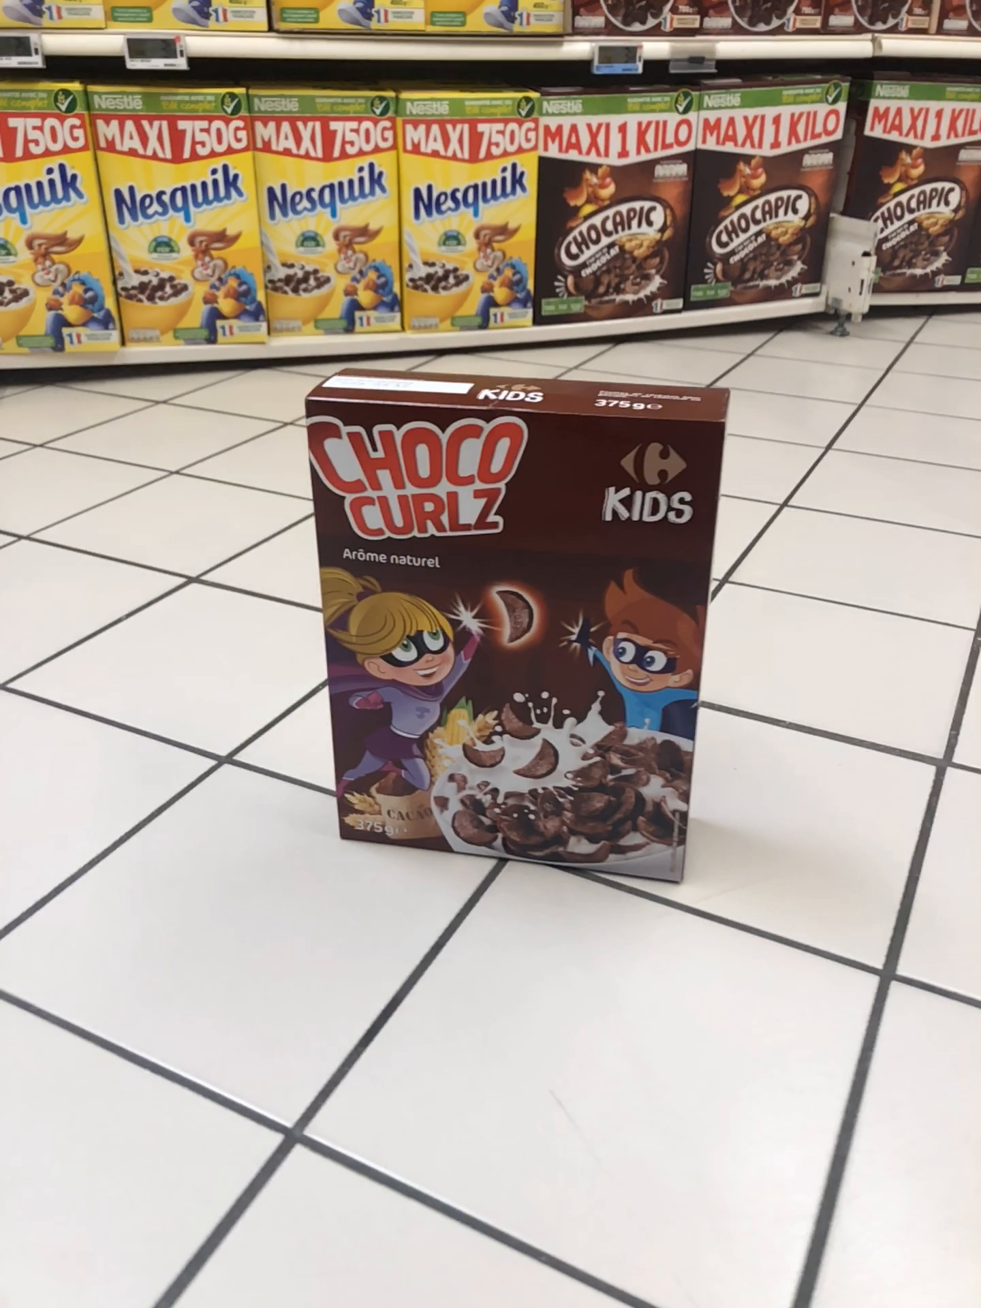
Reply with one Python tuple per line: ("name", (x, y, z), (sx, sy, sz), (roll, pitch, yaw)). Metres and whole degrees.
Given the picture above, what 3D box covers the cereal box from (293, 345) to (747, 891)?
("cereal box", (0.016, -0.016, 0.559), (0.200, 0.259, 0.070), (6, 28, 11))
